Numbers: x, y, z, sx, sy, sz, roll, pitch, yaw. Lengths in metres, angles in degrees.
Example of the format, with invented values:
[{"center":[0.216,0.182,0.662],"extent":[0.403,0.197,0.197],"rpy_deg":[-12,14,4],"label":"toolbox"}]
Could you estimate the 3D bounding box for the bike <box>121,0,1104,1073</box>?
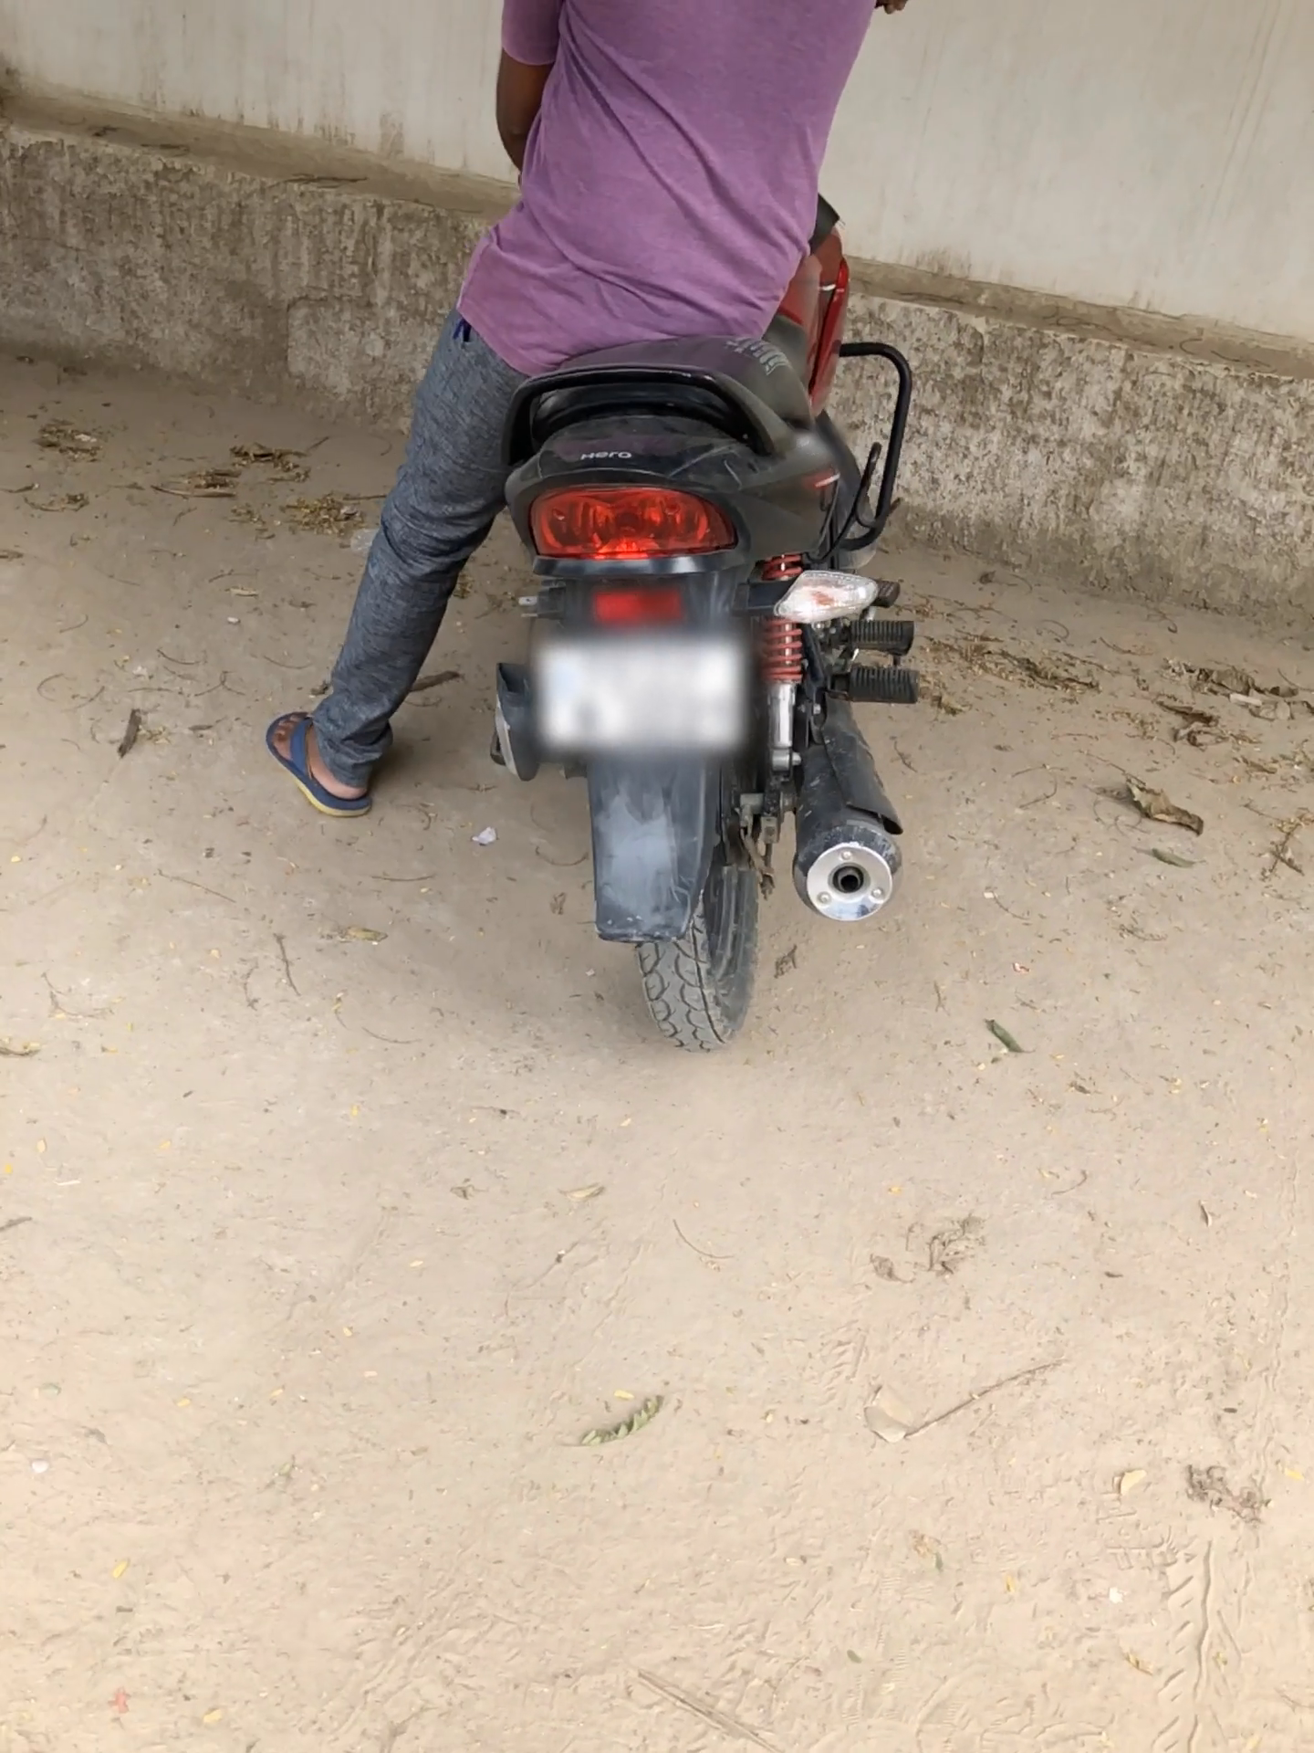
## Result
[{"center":[-0.137,-0.841,2.007],"extent":[0.740,1.085,1.710],"rpy_deg":[5,37,-6],"label":"bike"}]
